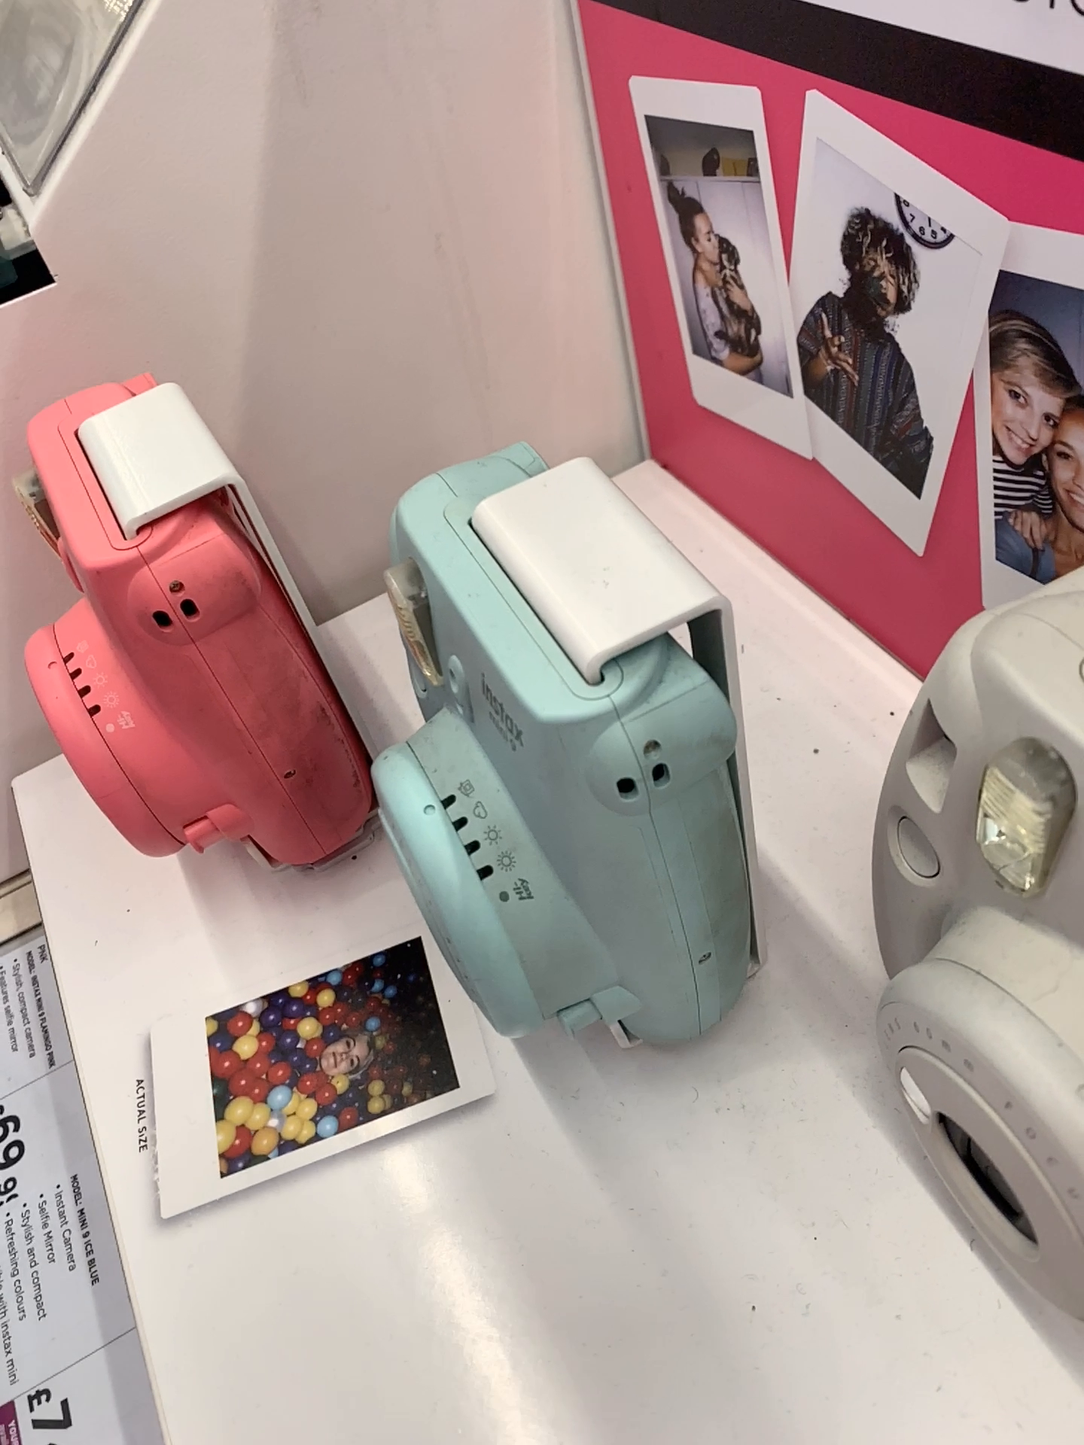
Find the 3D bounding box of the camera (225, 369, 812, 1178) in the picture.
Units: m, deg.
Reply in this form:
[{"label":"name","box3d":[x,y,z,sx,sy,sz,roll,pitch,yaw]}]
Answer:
[{"label":"camera","box3d":[-0.002,0.013,0.254,0.070,0.129,0.111,-25,47,-8]}]
